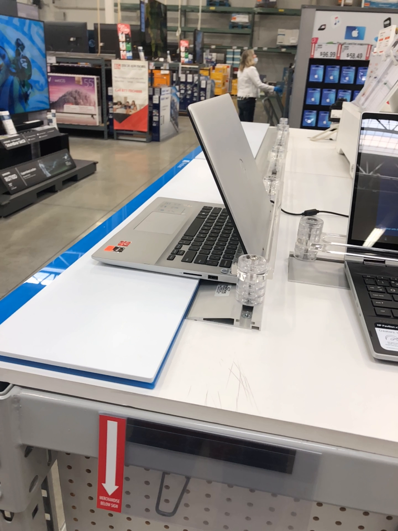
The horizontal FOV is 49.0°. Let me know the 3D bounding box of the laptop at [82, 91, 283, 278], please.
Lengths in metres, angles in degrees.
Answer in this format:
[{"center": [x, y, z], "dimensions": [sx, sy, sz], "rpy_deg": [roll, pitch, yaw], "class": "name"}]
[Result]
[{"center": [0.000, -0.151, 0.679], "dimensions": [0.222, 0.199, 0.320], "rpy_deg": [8, 24, 10], "class": "laptop"}]
